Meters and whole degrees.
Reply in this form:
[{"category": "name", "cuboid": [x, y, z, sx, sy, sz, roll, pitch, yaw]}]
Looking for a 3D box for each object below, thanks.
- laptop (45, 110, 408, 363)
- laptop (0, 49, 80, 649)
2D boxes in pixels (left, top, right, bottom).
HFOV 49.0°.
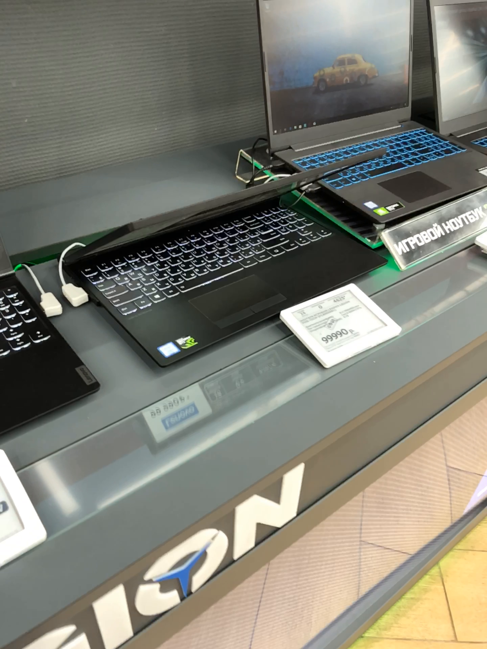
[{"category": "laptop", "cuboid": [-0.015, -0.136, 0.657, 0.353, 0.136, 0.228, -24, 45, -30]}, {"category": "laptop", "cuboid": [-0.377, -0.045, 0.445, 0.364, 0.231, 0.308, -23, 46, -29]}]
